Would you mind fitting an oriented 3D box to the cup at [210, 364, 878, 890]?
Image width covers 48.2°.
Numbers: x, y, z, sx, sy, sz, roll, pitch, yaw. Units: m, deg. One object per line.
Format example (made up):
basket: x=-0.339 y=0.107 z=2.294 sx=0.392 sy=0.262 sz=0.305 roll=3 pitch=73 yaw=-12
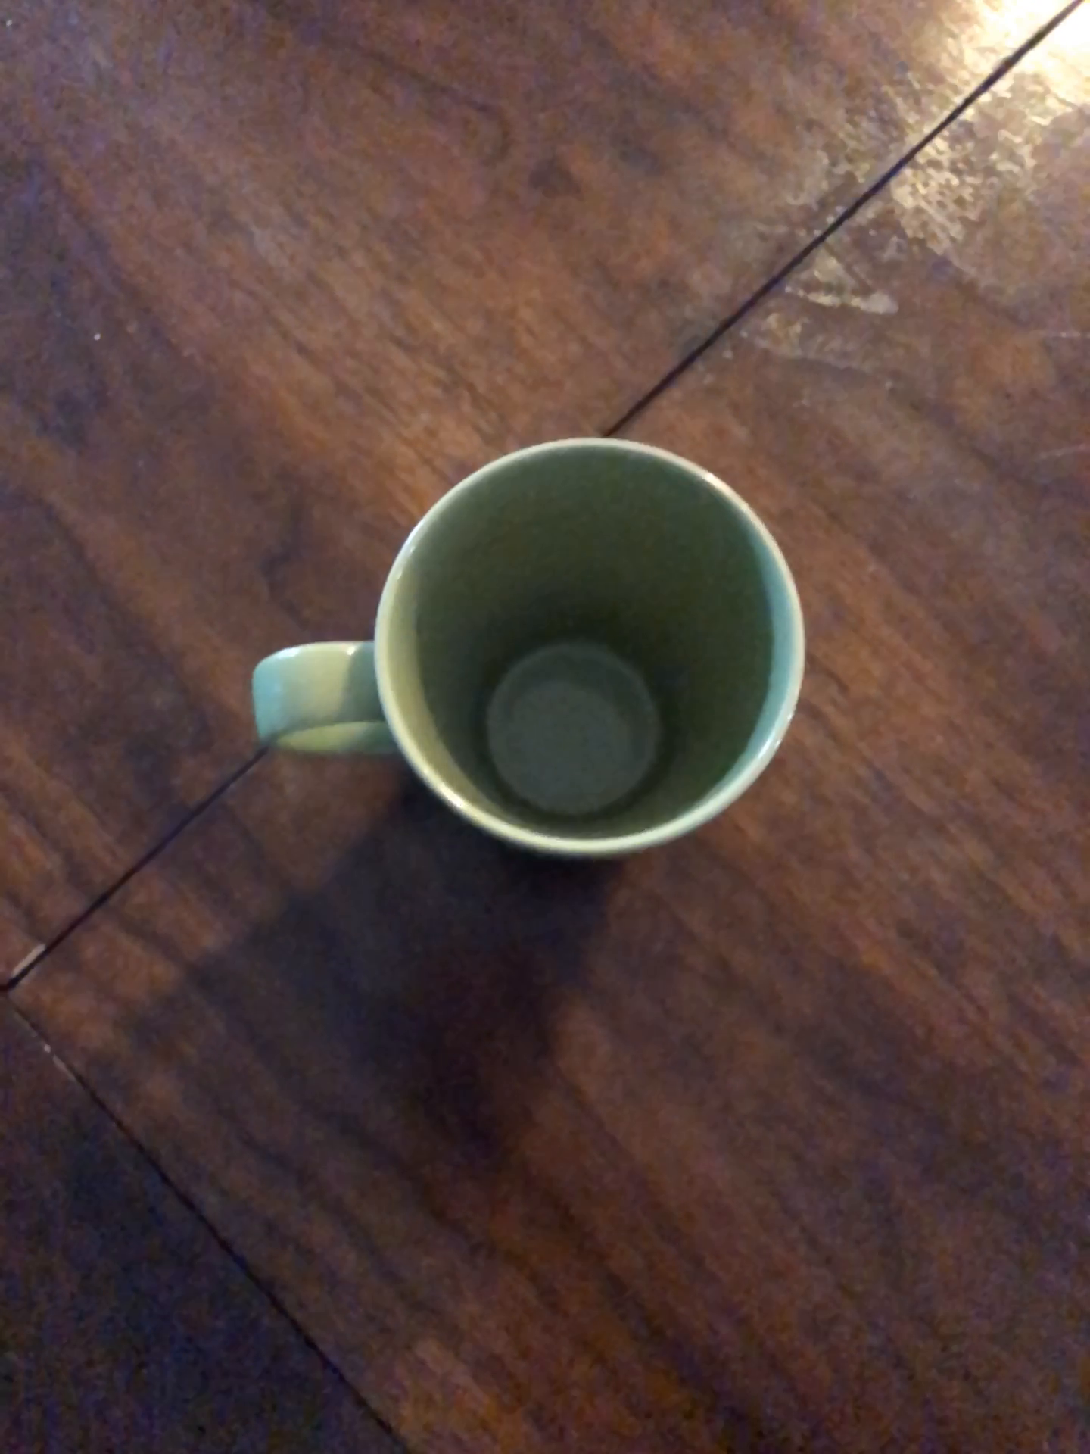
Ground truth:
cup: x=-0.002 y=-0.015 z=0.273 sx=0.120 sy=0.090 sz=0.090 roll=-3 pitch=79 yaw=-1
